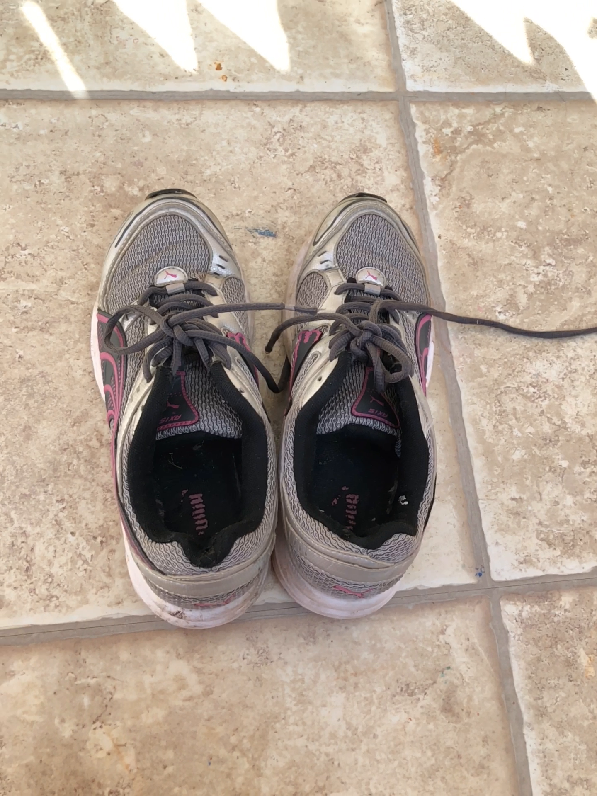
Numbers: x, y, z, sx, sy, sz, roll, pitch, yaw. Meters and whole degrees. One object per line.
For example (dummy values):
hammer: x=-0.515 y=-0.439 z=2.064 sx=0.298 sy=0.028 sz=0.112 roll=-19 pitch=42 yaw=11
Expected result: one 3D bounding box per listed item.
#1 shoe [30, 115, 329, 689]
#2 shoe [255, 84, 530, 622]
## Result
shoe: x=-0.070 y=0.003 z=0.375 sx=0.110 sy=0.140 sz=0.271 roll=-7 pitch=72 yaw=-8
shoe: x=0.040 y=-0.016 z=0.382 sx=0.110 sy=0.140 sz=0.271 roll=4 pitch=71 yaw=-5
